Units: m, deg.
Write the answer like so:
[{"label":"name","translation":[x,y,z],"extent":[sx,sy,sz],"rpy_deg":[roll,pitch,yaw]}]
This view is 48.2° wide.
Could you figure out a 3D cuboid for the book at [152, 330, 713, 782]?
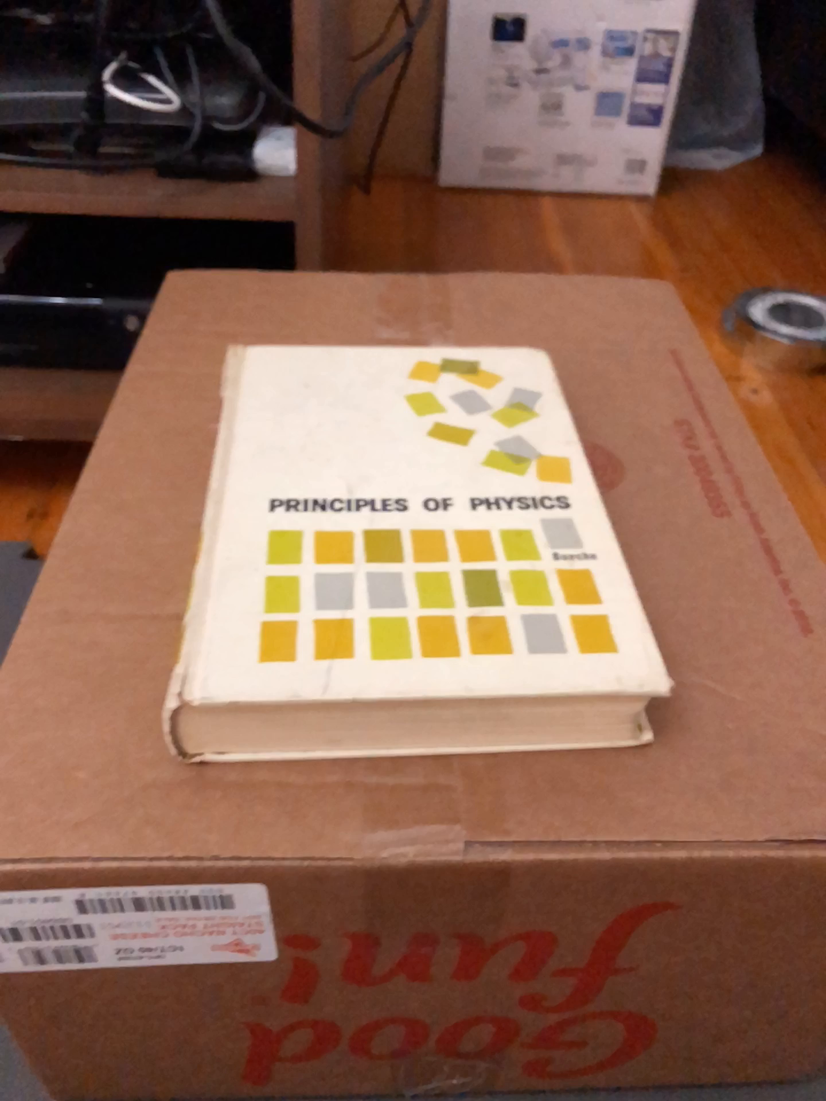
[{"label":"book","translation":[0.000,-0.019,0.403],"extent":[0.180,0.040,0.251],"rpy_deg":[-1,41,-4]}]
